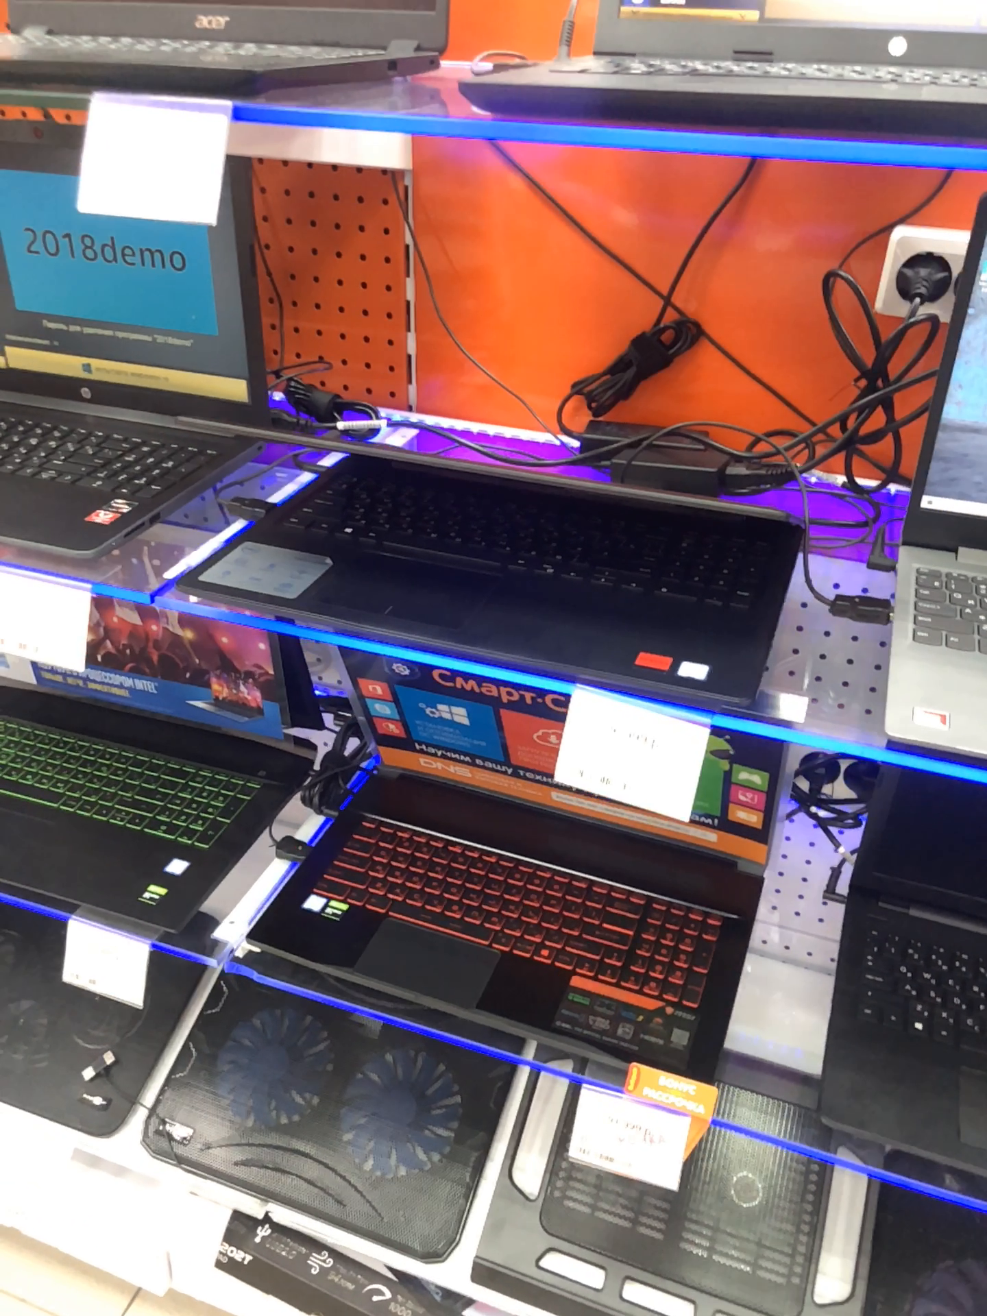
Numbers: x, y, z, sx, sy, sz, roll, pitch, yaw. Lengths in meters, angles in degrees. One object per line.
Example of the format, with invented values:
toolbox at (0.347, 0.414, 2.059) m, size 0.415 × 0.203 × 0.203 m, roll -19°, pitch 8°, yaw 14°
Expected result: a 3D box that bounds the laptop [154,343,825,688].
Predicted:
laptop at (0.009, -0.116, 0.727) m, size 0.371 × 0.100 × 0.239 m, roll 11°, pitch 32°, yaw 17°
